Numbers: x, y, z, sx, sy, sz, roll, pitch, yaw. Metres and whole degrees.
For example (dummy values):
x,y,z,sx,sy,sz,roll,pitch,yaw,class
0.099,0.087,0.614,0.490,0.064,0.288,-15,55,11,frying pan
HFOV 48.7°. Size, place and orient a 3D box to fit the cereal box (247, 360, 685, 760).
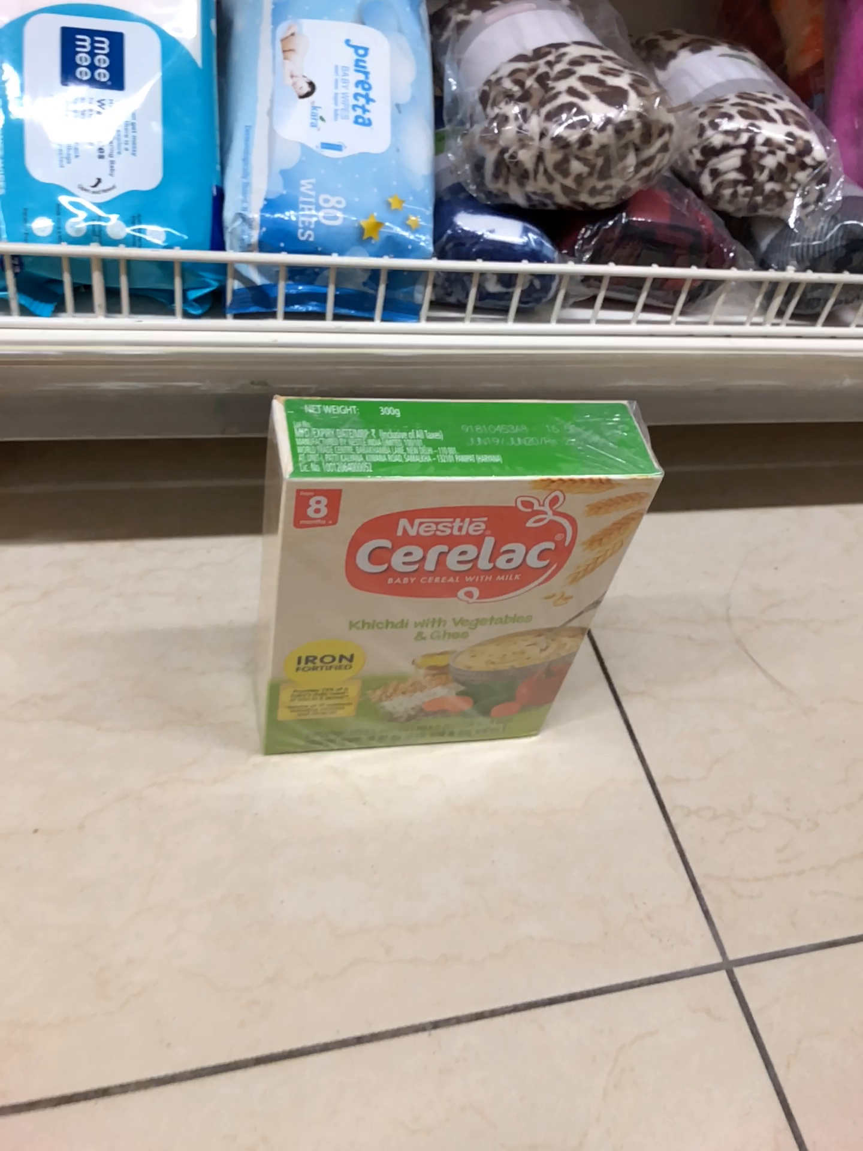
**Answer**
x,y,z,sx,sy,sz,roll,pitch,yaw,class
0.000,0.002,0.447,0.160,0.199,0.060,-2,49,-15,cereal box
